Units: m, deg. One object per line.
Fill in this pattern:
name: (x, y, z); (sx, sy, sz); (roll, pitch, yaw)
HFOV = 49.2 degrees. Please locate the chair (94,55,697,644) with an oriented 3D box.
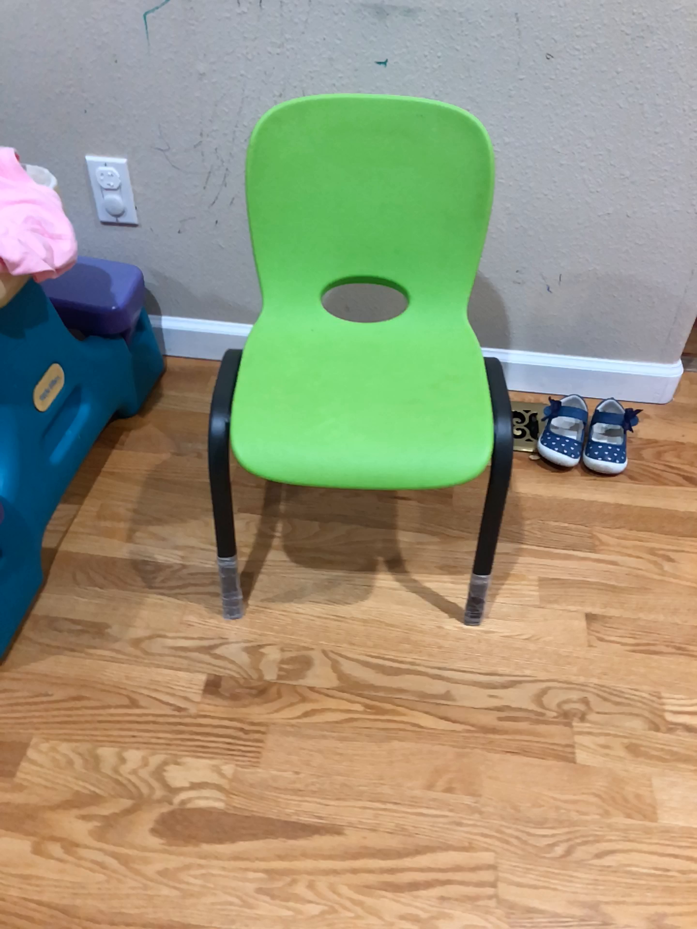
chair: (0.049, -0.142, 0.990); (0.510, 0.557, 0.483); (3, 44, 1)
